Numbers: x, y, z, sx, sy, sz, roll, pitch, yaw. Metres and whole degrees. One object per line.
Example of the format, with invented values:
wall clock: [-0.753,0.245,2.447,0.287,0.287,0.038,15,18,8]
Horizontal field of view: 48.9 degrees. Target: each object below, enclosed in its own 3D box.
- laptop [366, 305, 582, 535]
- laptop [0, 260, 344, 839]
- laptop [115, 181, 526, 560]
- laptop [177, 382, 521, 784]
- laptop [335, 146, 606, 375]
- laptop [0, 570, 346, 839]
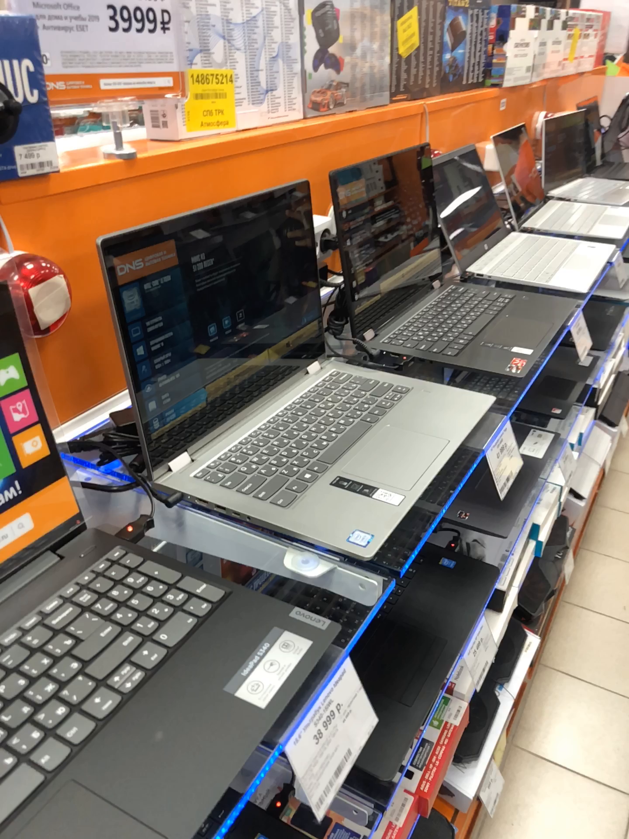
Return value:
laptop: [0.266,-0.019,1.148,0.237,0.213,0.310,15,34,28]
laptop: [-0.172,0.075,0.342,0.278,0.212,0.306,13,29,22]
laptop: [0.025,-0.081,0.657,0.238,0.212,0.316,15,32,26]
laptop: [0.059,0.153,0.834,0.263,0.207,0.369,15,33,25]
laptop: [0.213,-0.234,0.939,0.247,0.209,0.291,15,33,26]
laptop: [-0.175,0.349,0.483,0.239,0.235,0.380,16,33,26]
